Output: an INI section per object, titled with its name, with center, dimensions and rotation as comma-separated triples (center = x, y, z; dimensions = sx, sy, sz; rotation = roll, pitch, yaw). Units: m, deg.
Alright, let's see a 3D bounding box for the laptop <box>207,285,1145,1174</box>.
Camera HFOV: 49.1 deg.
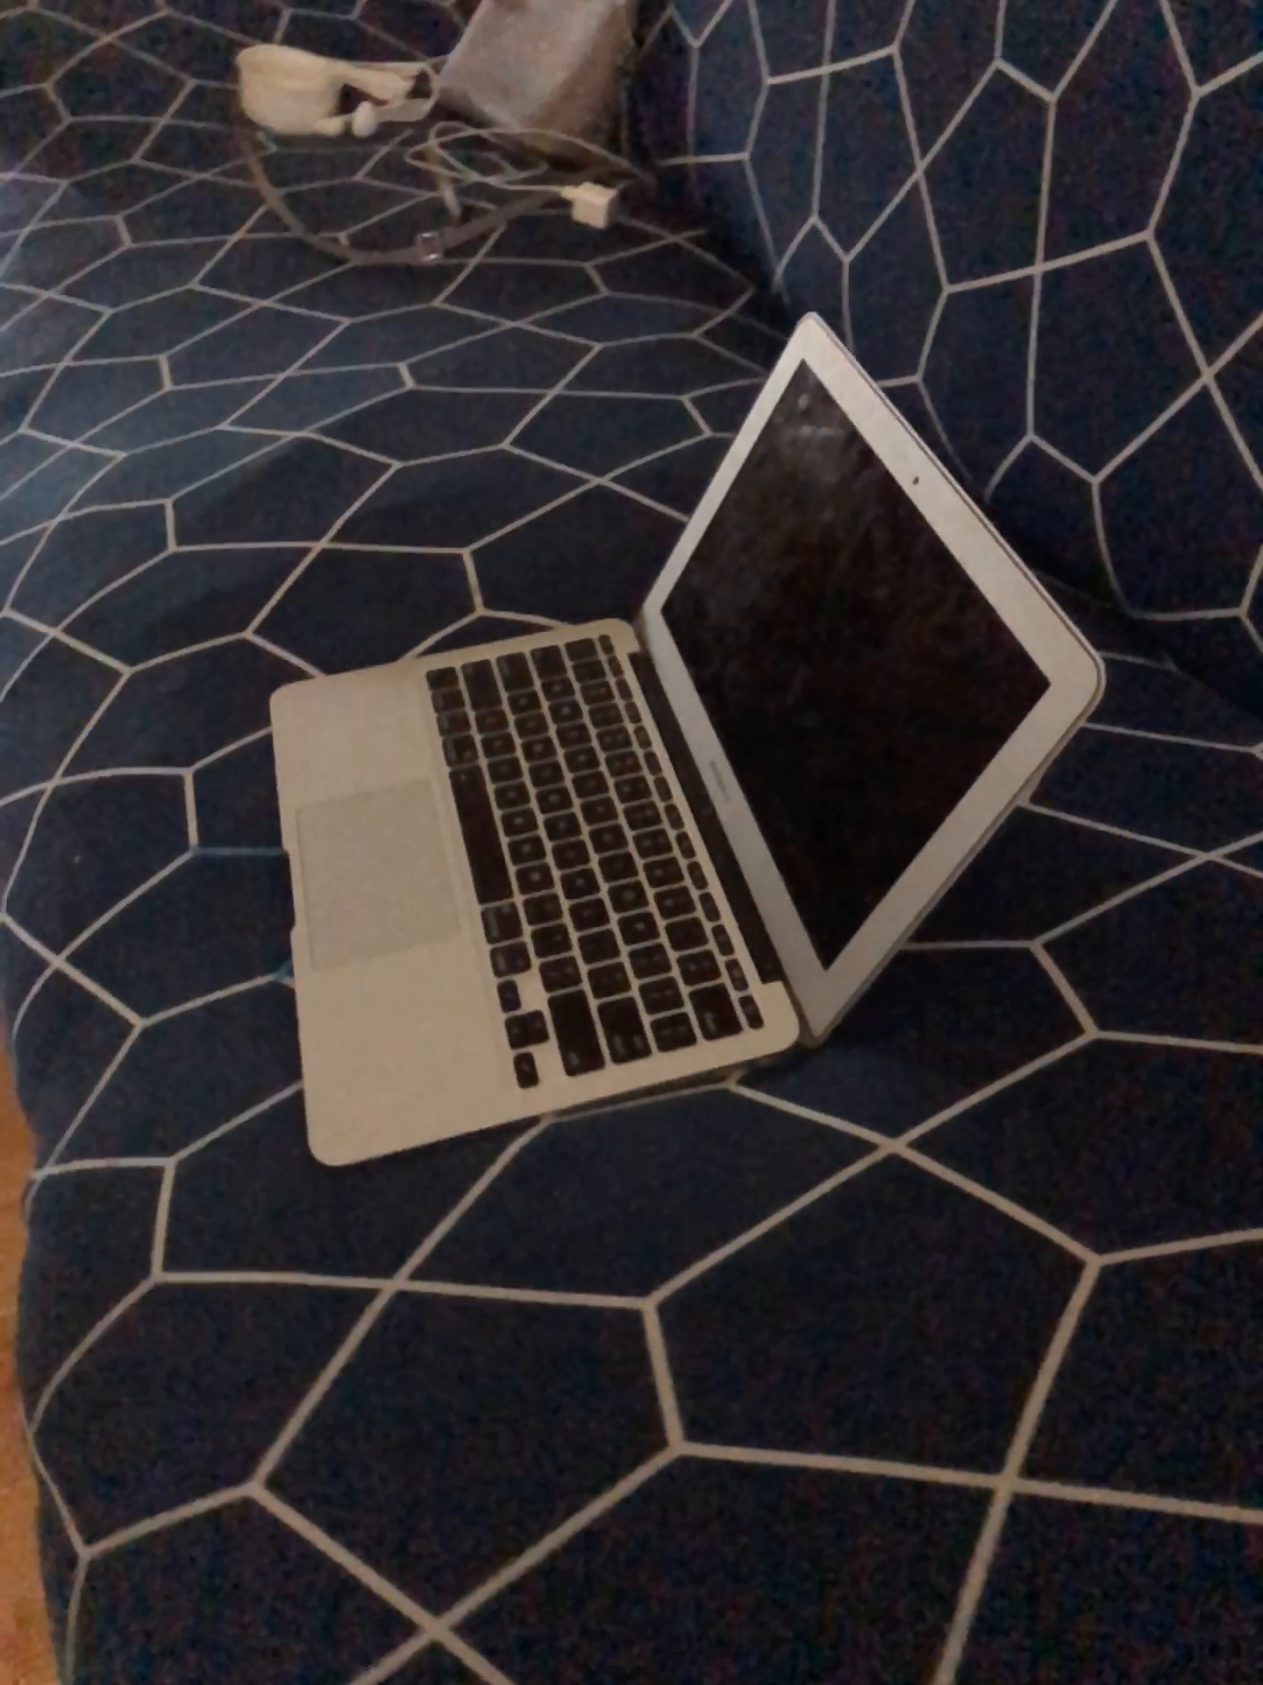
[laptop]
center = -0.009, -0.066, 0.558
dimensions = 0.279, 0.156, 0.283
rotation = -13, 46, -8
